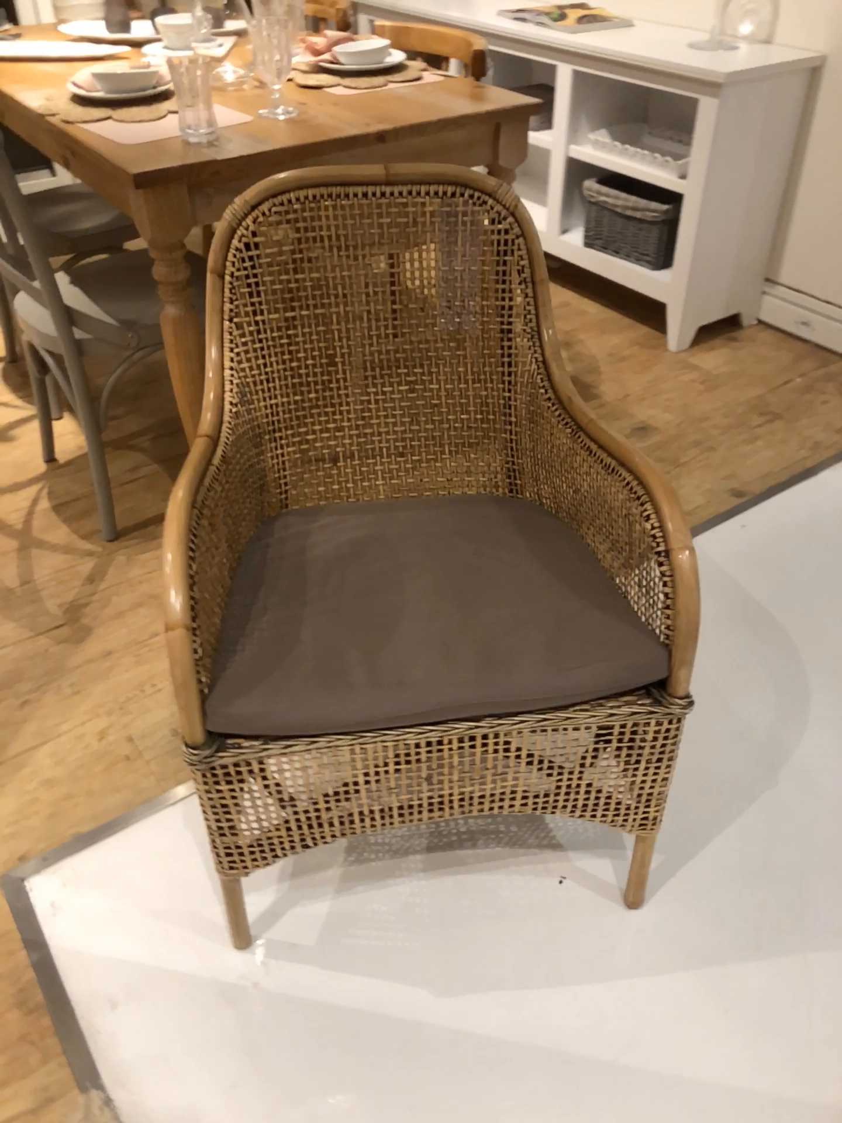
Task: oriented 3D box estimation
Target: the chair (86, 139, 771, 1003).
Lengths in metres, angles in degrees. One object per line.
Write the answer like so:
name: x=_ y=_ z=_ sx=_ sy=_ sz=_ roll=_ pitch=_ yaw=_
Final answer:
chair: x=-0.026 y=0.011 z=1.237 sx=0.540 sy=0.903 sz=0.625 roll=-6 pitch=38 yaw=-7
